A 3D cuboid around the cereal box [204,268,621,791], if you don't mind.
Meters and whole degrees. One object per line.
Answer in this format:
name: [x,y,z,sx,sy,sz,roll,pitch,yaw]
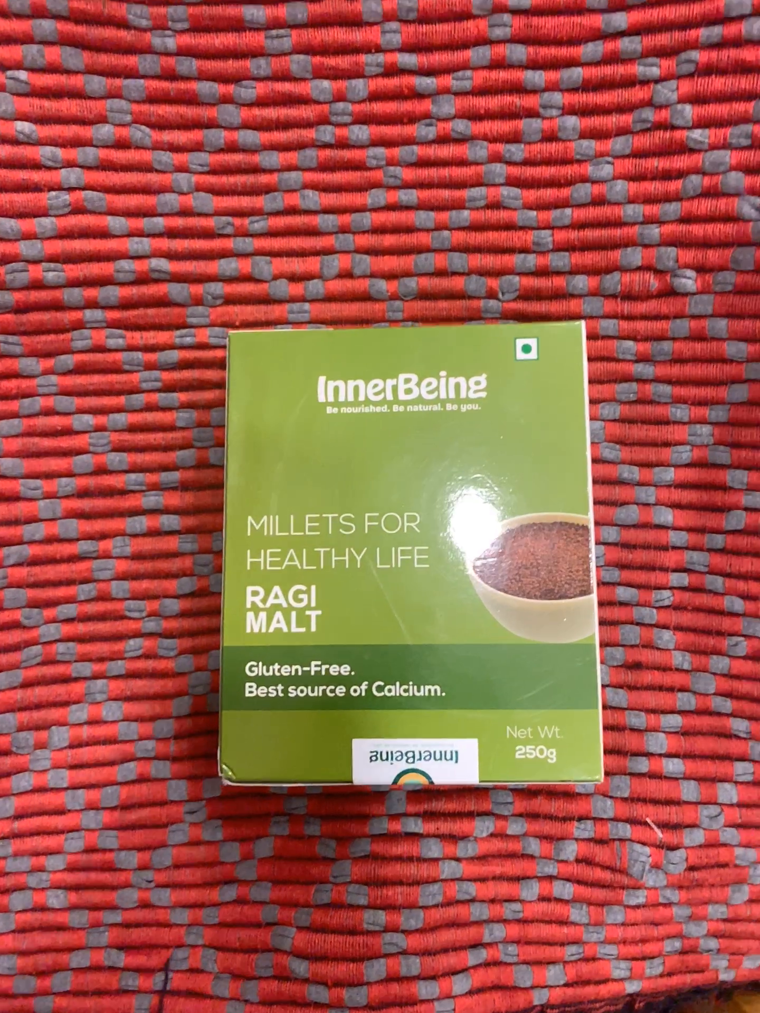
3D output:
cereal box: [0.010,0.008,0.282,0.130,0.050,0.170,-1,82,3]
